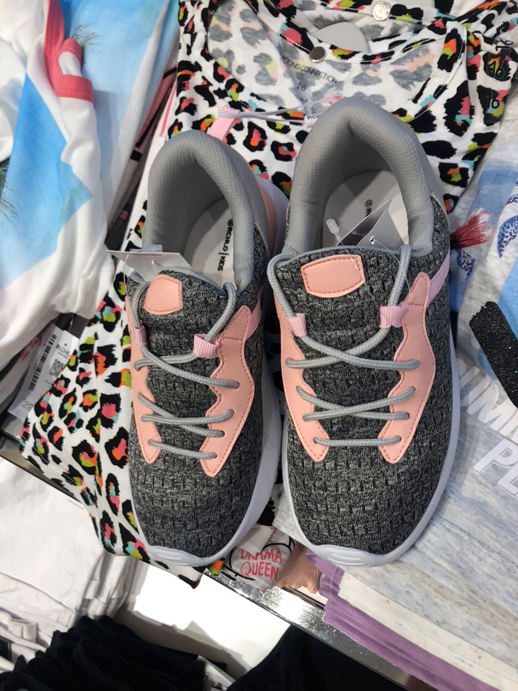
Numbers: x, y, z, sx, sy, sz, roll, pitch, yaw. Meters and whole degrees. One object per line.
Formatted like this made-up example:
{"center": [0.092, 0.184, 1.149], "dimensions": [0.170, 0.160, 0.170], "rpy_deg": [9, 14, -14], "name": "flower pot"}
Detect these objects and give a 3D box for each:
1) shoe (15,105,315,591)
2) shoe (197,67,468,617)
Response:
{"center": [-0.041, 0.001, 0.321], "dimensions": [0.100, 0.100, 0.220], "rpy_deg": [2, 80, 23], "name": "shoe"}
{"center": [0.046, 0.000, 0.280], "dimensions": [0.100, 0.100, 0.210], "rpy_deg": [-1, 79, 22], "name": "shoe"}
